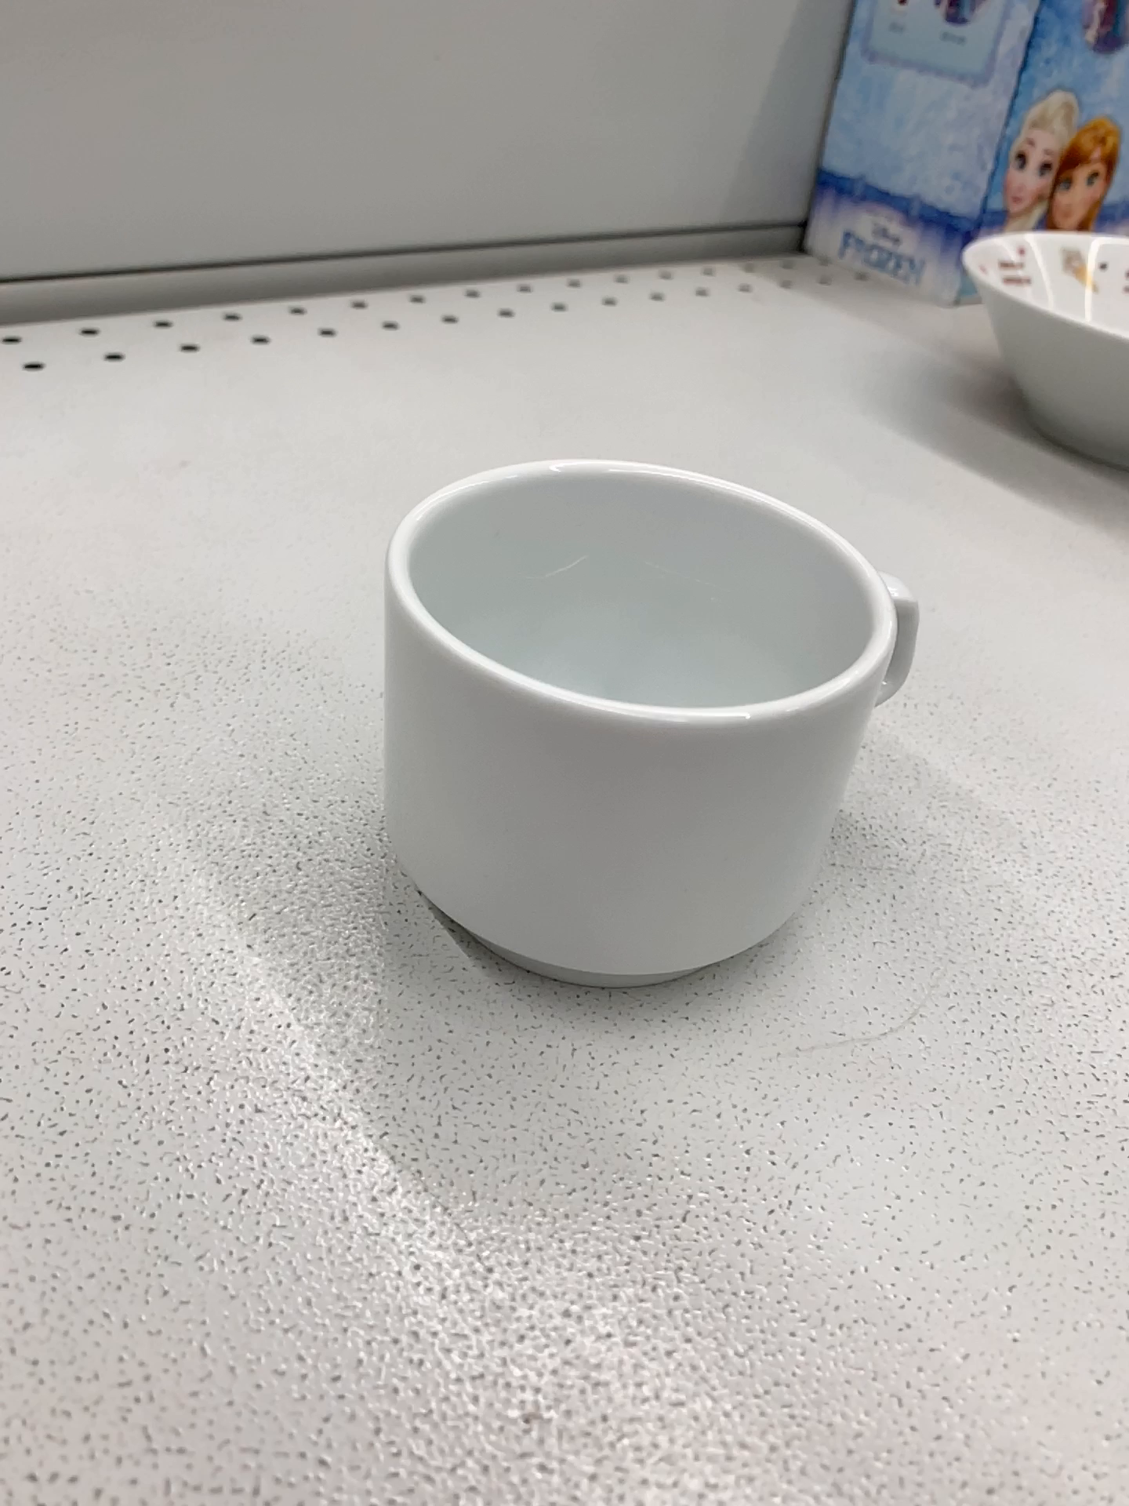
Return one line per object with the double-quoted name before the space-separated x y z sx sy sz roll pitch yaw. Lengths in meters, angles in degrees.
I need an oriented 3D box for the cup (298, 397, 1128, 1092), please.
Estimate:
"cup" 0.022 -0.011 0.199 0.105 0.056 0.082 -17 44 -28
